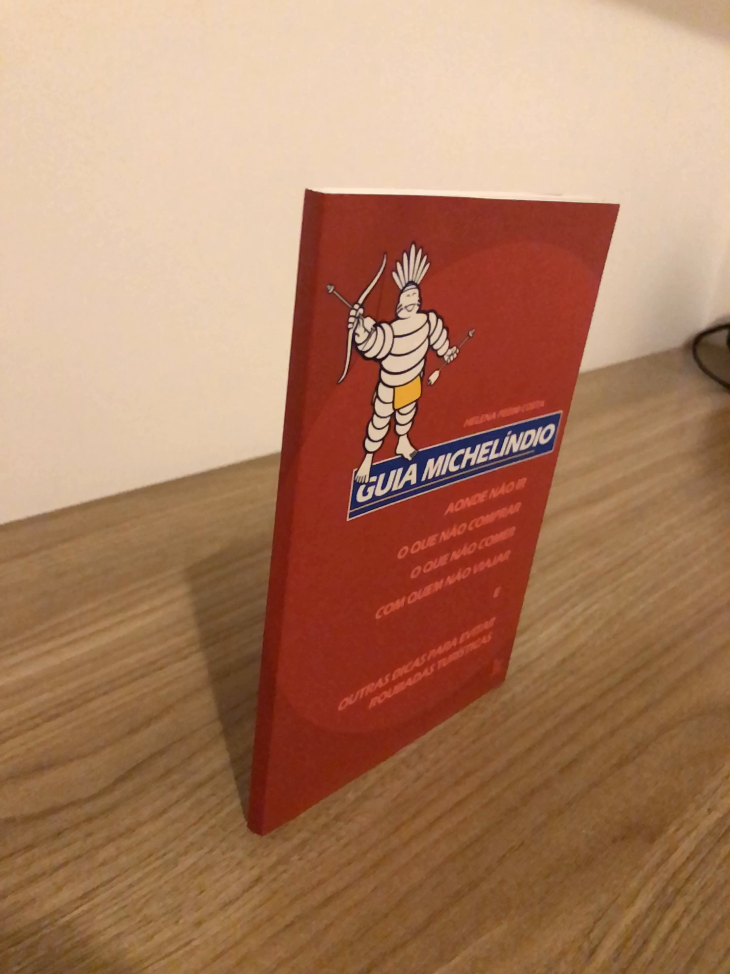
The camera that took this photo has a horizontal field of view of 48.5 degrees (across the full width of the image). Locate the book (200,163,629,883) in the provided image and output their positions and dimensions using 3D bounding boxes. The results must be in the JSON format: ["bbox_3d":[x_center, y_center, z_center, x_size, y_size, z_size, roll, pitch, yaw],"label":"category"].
[{"bbox_3d":[0.017,0.010,0.278,0.020,0.218,0.150,28,31,36],"label":"book"}]
